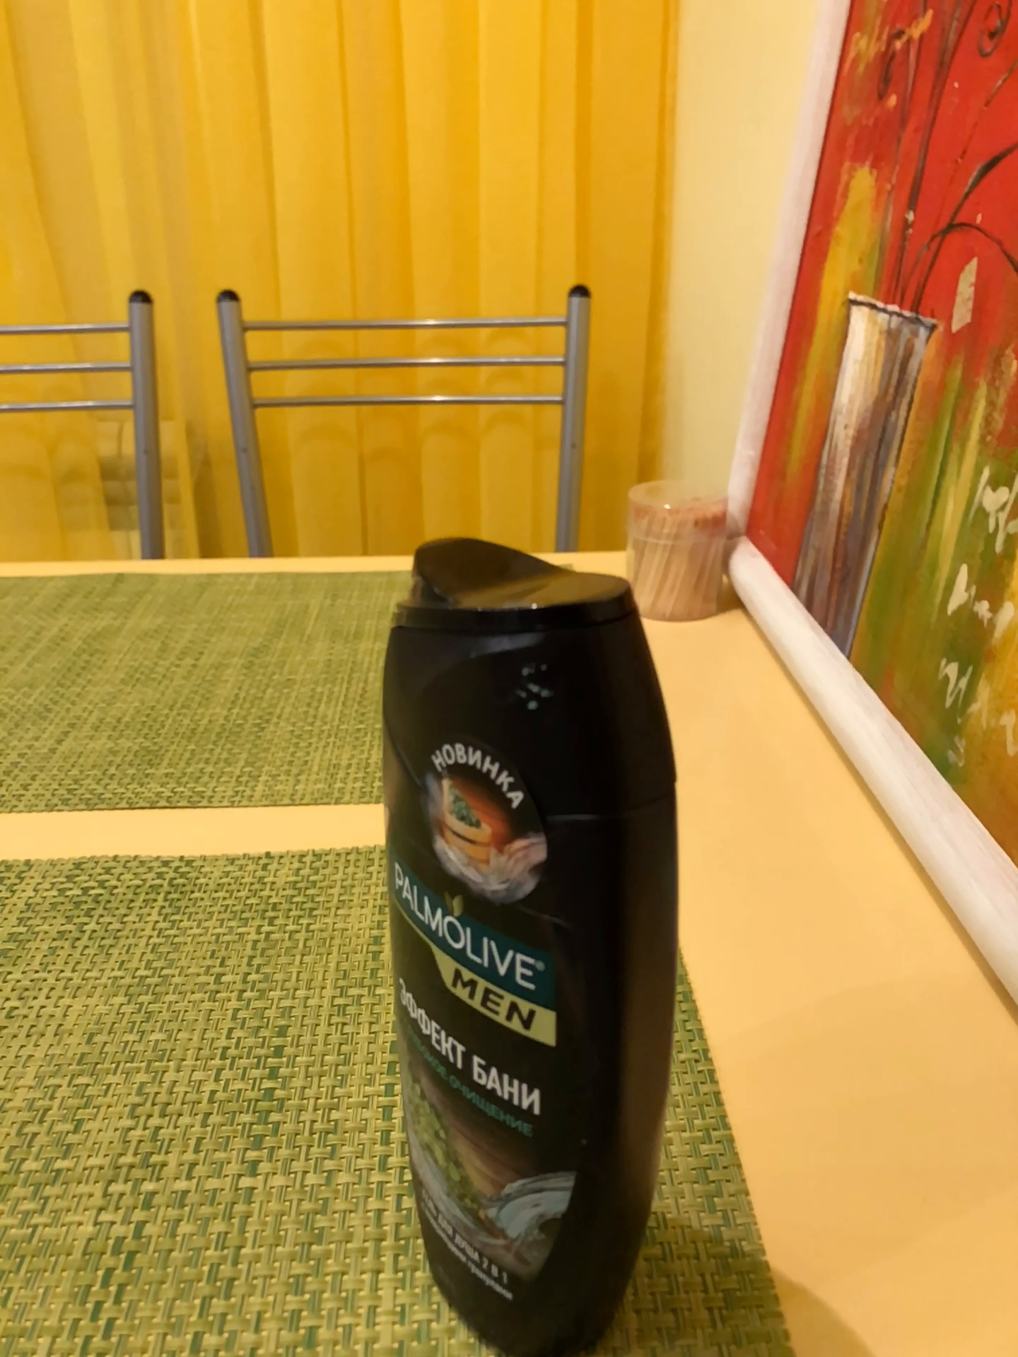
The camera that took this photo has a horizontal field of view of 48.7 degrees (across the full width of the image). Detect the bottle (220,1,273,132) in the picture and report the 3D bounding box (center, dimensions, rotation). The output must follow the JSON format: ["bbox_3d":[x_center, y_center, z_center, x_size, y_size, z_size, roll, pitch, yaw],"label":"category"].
[{"bbox_3d":[-0.740,-1.725,3.182,0.099,0.318,0.107,0,24,0],"label":"bottle"}]
